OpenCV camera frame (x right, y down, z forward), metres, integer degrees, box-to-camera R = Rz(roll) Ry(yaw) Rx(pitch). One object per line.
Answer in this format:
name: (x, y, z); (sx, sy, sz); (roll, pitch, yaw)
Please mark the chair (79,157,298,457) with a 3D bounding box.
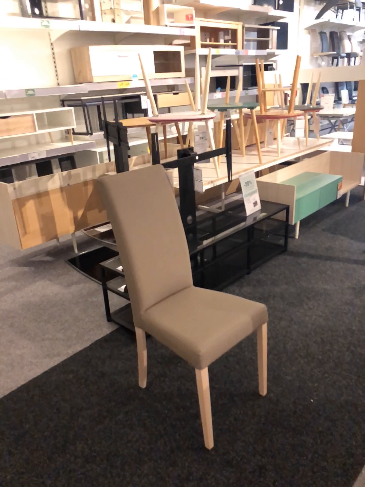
chair: (0.037, 0.184, 1.654); (0.533, 0.945, 0.630); (-23, 29, -40)
